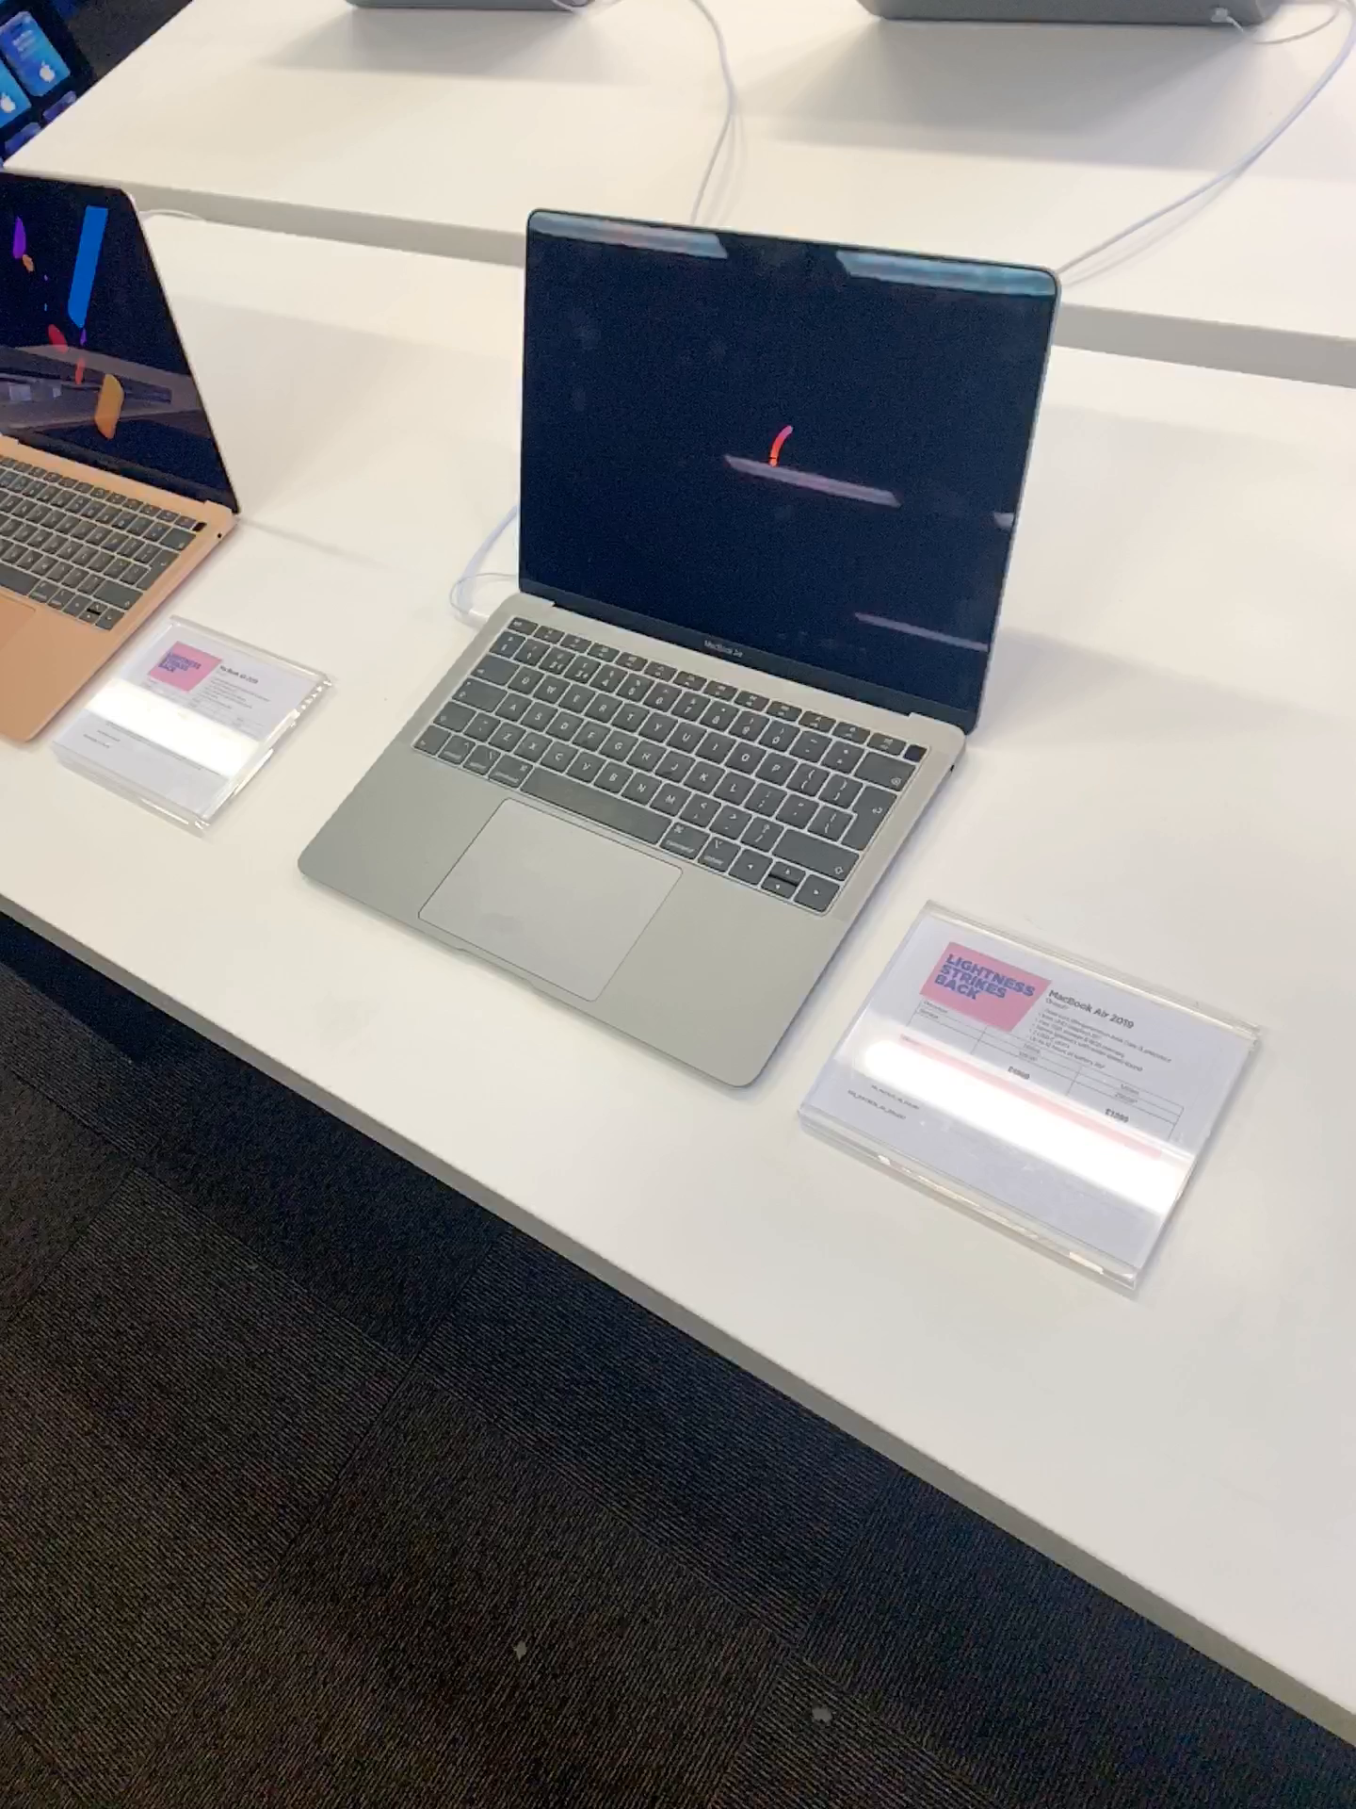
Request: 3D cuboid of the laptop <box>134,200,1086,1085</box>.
[{"bbox_3d":[-0.016,-0.145,0.657,0.290,0.160,0.329,23,67,30],"label":"laptop"}]
